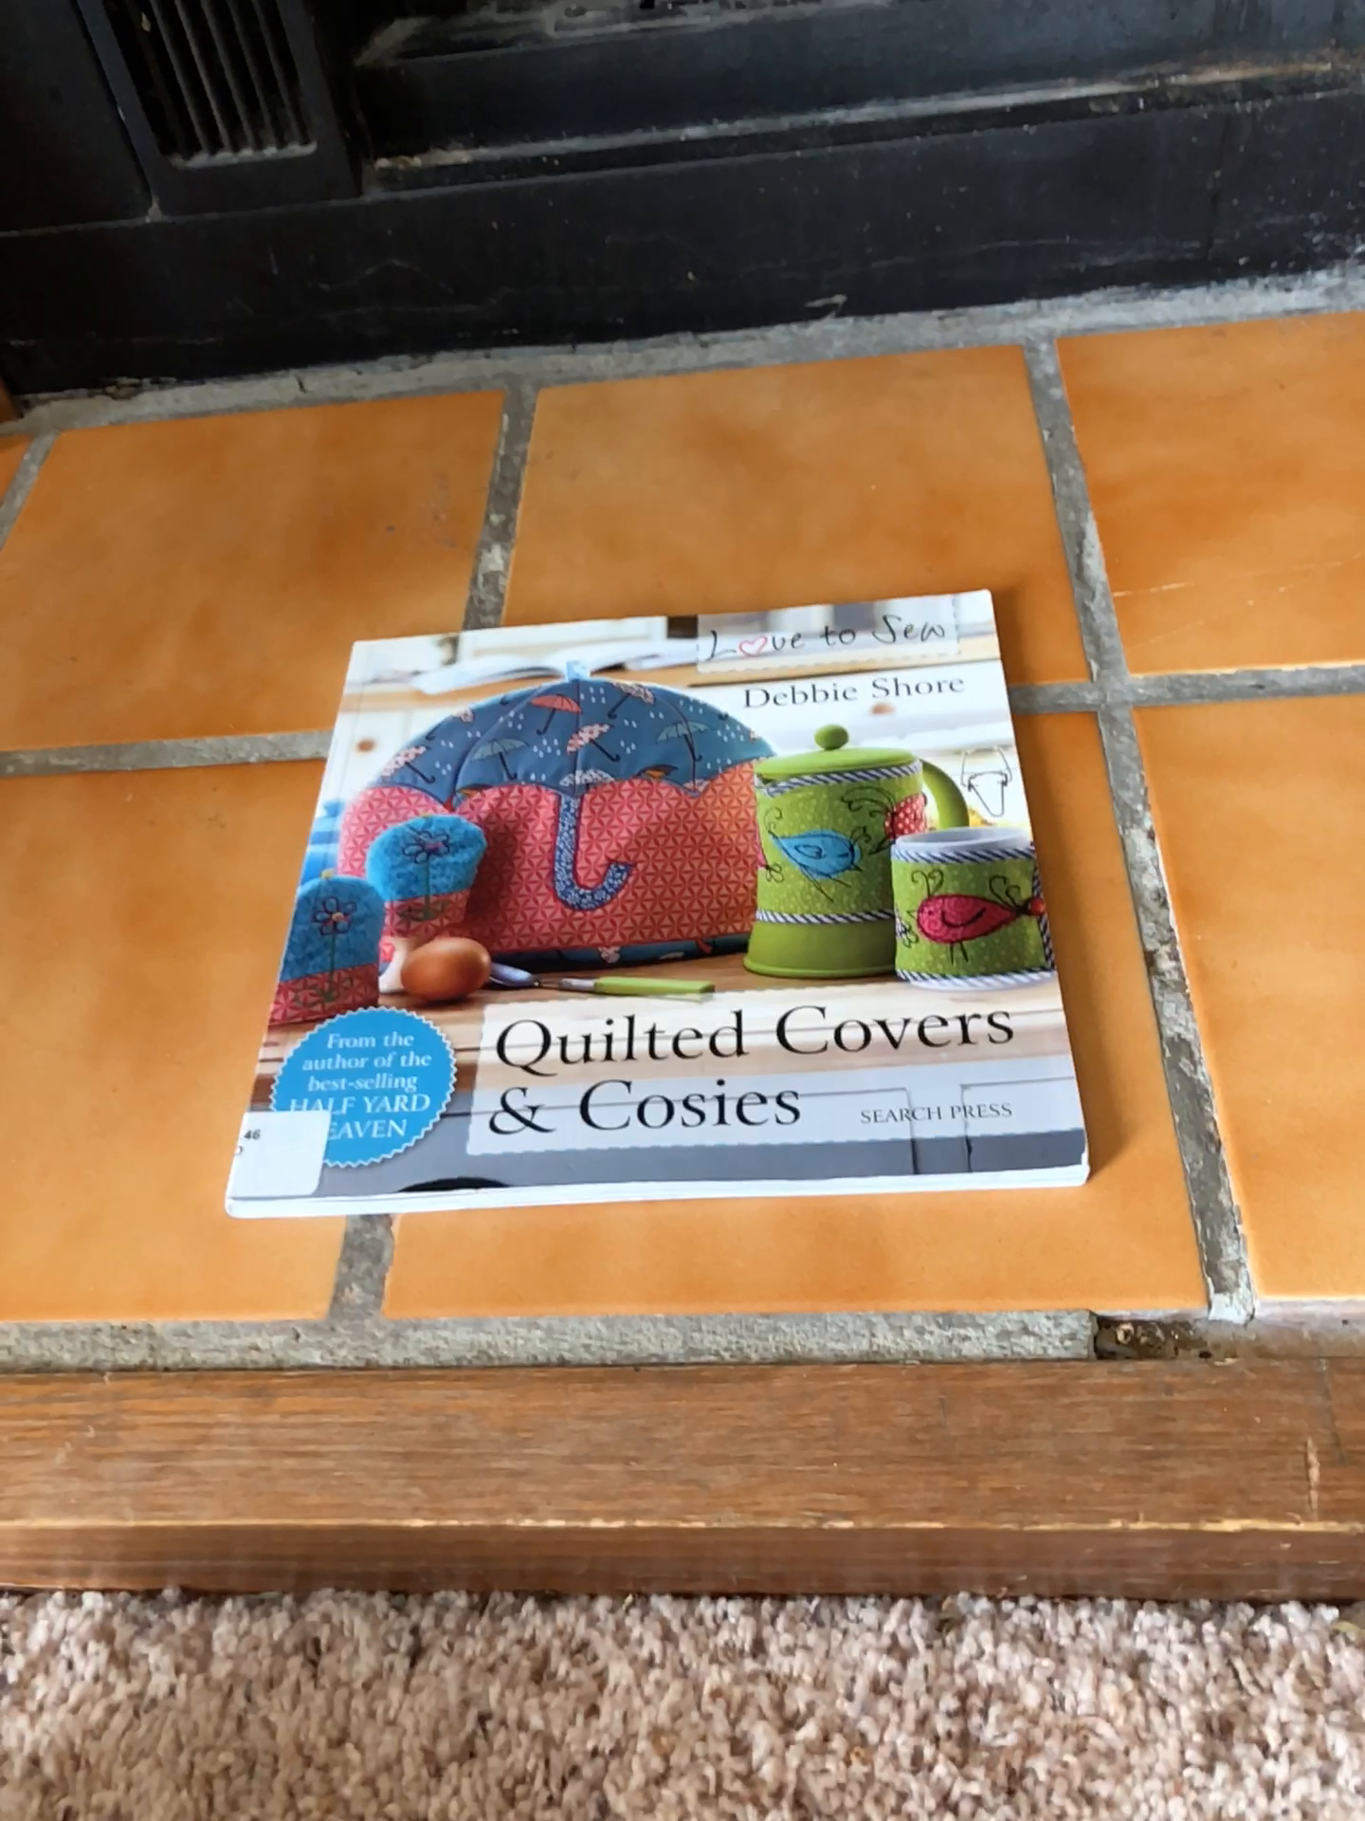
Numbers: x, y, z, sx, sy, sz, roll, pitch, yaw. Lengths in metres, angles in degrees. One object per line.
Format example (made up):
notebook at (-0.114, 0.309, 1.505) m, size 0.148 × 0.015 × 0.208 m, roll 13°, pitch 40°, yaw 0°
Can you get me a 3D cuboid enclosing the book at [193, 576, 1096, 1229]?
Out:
book at (-0.010, -0.014, 0.447) m, size 0.224 × 0.015 × 0.220 m, roll -3°, pitch 51°, yaw 5°
